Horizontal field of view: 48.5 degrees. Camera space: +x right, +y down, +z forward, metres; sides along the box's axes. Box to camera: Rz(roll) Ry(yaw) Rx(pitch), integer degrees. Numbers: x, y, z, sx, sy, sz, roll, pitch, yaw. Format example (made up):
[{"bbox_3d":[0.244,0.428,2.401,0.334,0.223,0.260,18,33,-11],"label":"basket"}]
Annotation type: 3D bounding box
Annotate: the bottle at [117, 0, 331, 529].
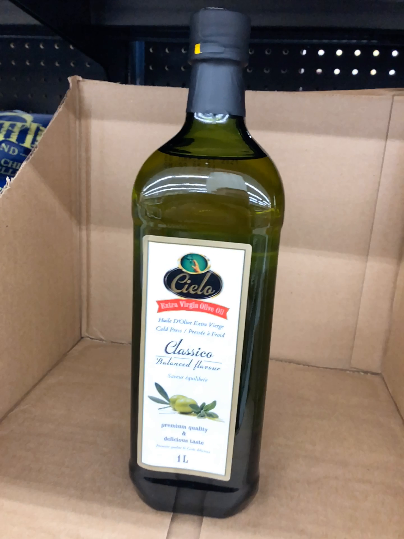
[{"bbox_3d":[0.007,0.002,0.269,0.090,0.288,0.080,5,18,7],"label":"bottle"}]
